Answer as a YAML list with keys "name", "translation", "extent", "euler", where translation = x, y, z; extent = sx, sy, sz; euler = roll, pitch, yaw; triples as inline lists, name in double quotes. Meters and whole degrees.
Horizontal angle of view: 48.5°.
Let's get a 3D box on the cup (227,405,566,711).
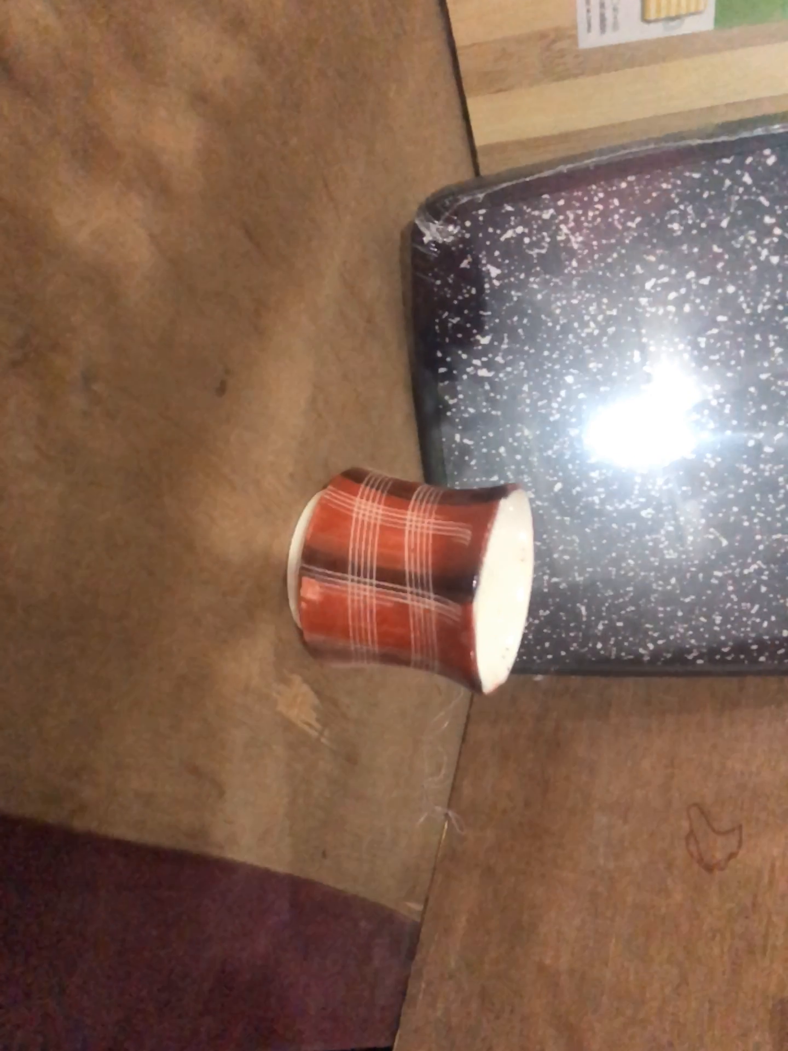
- name: "cup"
  translation: [0.008, 0.013, 0.256]
  extent: [0.091, 0.060, 0.060]
  euler: [41, 59, -63]
